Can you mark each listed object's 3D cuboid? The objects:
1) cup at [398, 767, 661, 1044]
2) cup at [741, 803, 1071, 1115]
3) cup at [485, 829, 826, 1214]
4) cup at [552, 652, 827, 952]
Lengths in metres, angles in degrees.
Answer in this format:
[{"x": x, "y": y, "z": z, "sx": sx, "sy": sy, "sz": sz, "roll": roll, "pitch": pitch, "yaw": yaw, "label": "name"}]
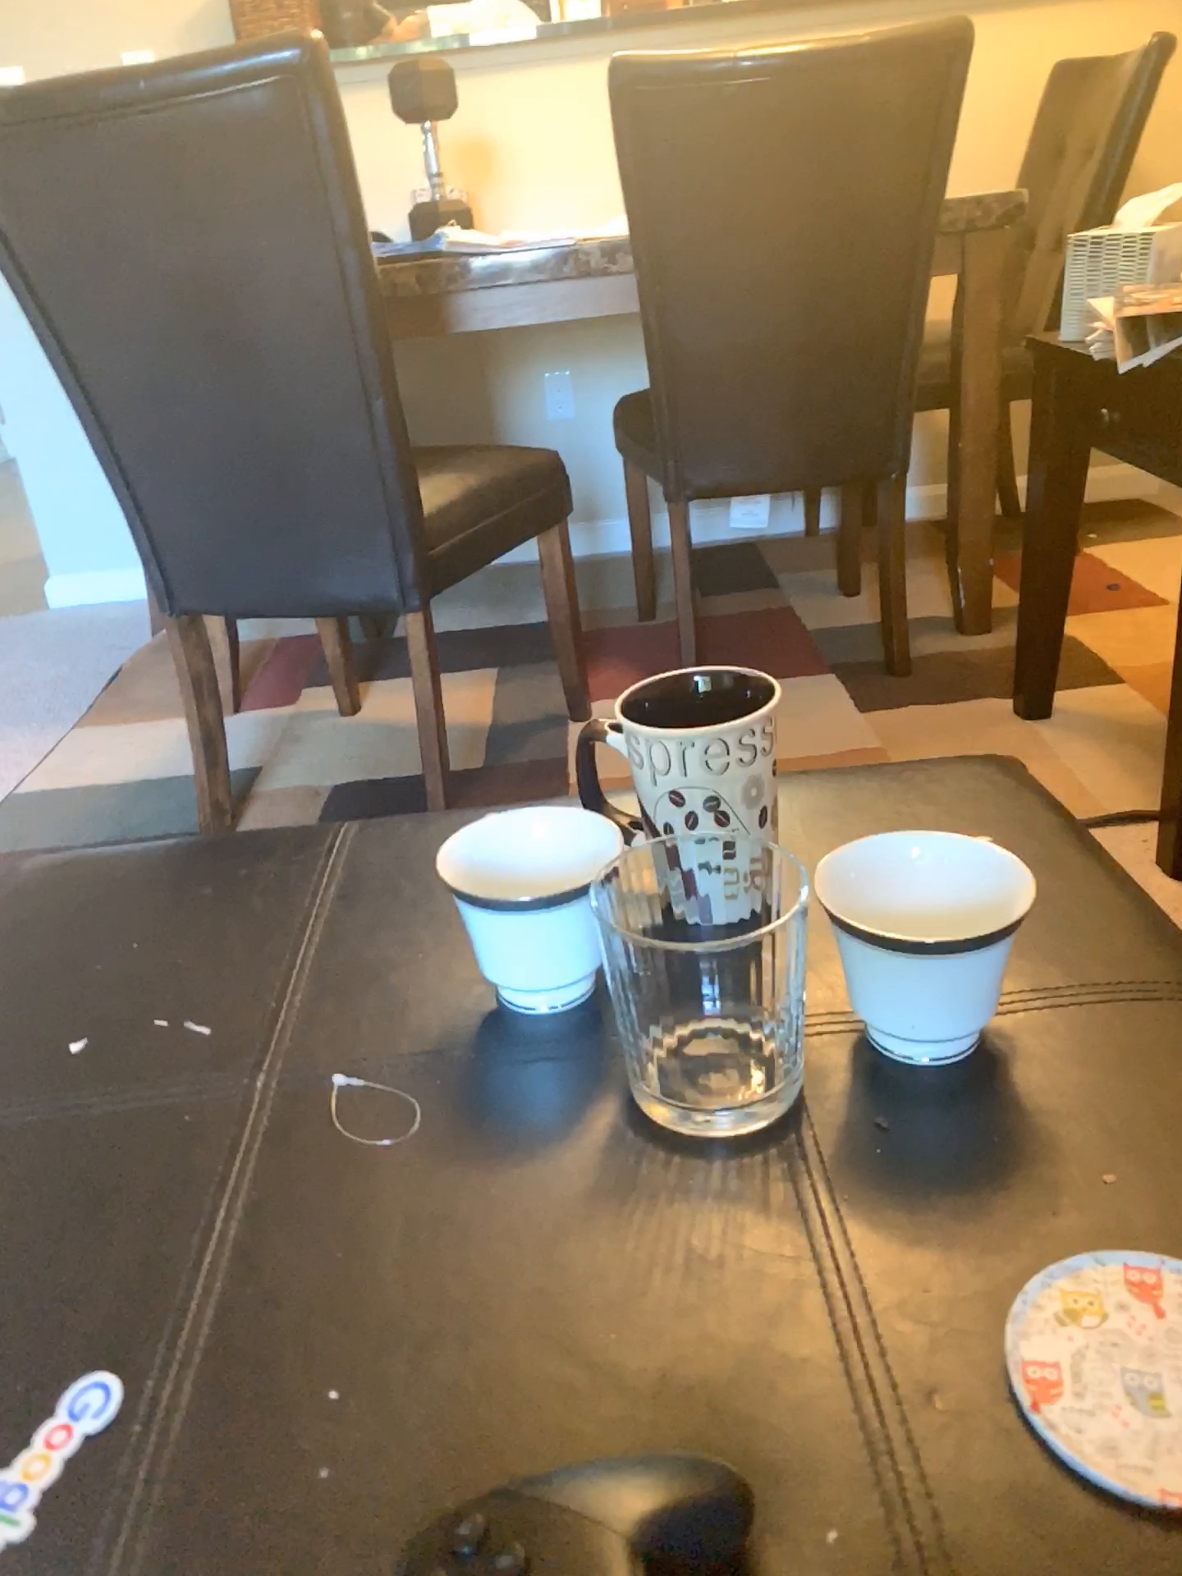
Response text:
[{"x": -0.032, "y": 0.052, "z": 0.587, "sx": 0.090, "sy": 0.070, "sz": 0.111, "roll": -15, "pitch": 27, "yaw": -16, "label": "cup"}, {"x": 0.140, "y": 0.067, "z": 0.529, "sx": 0.100, "sy": 0.060, "sz": 0.120, "roll": 11, "pitch": 31, "yaw": 33, "label": "cup"}, {"x": 0.032, "y": 0.093, "z": 0.515, "sx": 0.100, "sy": 0.099, "sz": 0.100, "roll": -5, "pitch": 25, "yaw": 3, "label": "cup"}, {"x": 0.055, "y": 0.002, "z": 0.635, "sx": 0.100, "sy": 0.109, "sz": 0.100, "roll": -5, "pitch": 25, "yaw": 3, "label": "cup"}]
